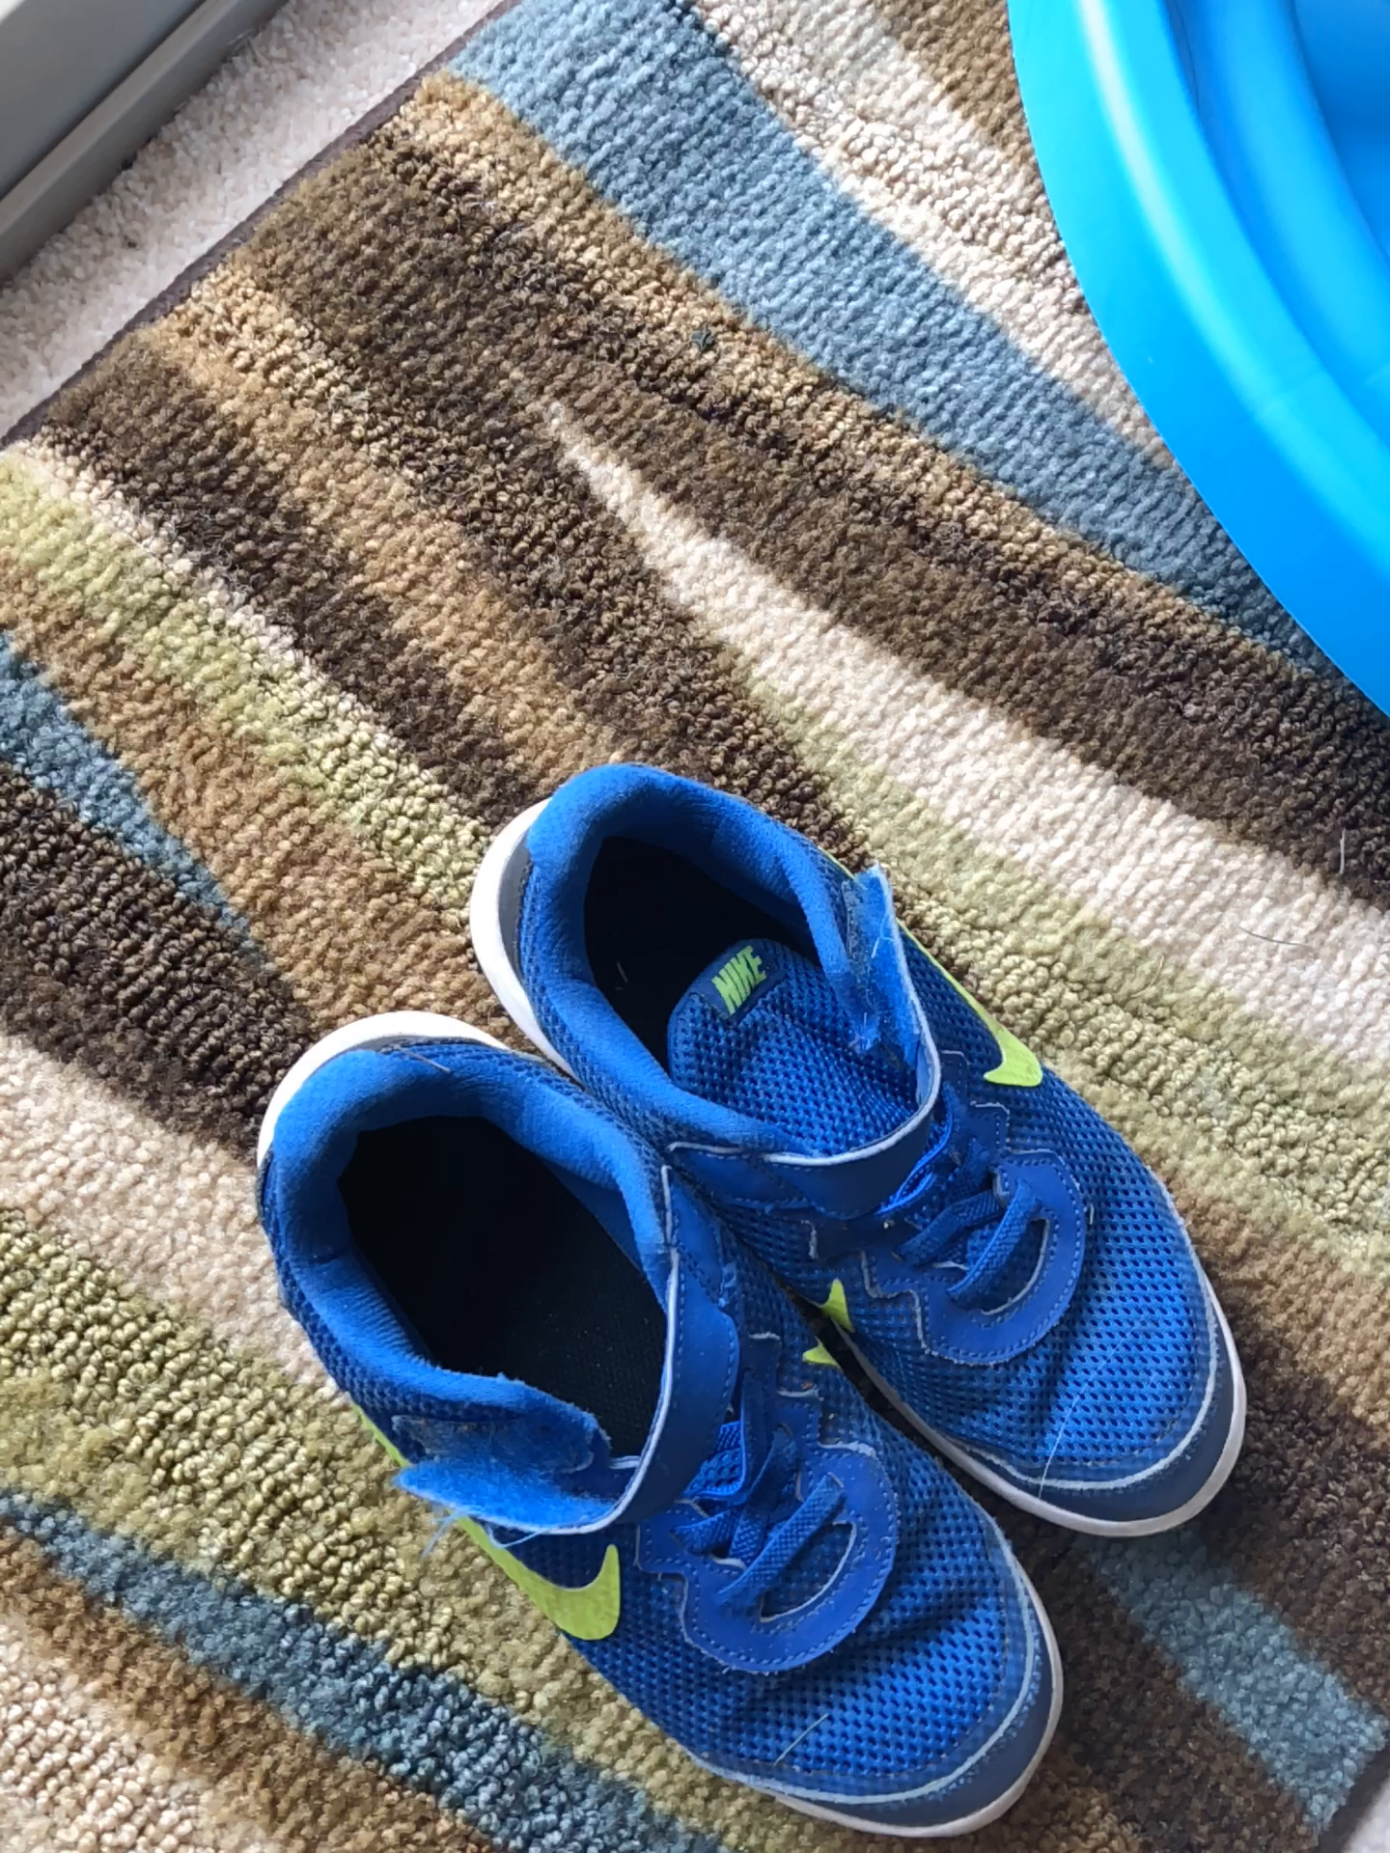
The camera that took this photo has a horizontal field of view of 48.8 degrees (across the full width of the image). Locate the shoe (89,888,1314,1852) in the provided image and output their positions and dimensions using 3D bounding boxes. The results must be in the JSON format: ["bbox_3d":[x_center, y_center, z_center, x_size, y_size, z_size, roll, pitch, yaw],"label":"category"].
[{"bbox_3d":[-0.001,0.117,0.328,0.102,0.075,0.233,-43,87,-14],"label":"shoe"}]

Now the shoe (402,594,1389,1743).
[{"bbox_3d":[0.055,0.051,0.349,0.230,0.075,0.103,43,76,2],"label":"shoe"}]
